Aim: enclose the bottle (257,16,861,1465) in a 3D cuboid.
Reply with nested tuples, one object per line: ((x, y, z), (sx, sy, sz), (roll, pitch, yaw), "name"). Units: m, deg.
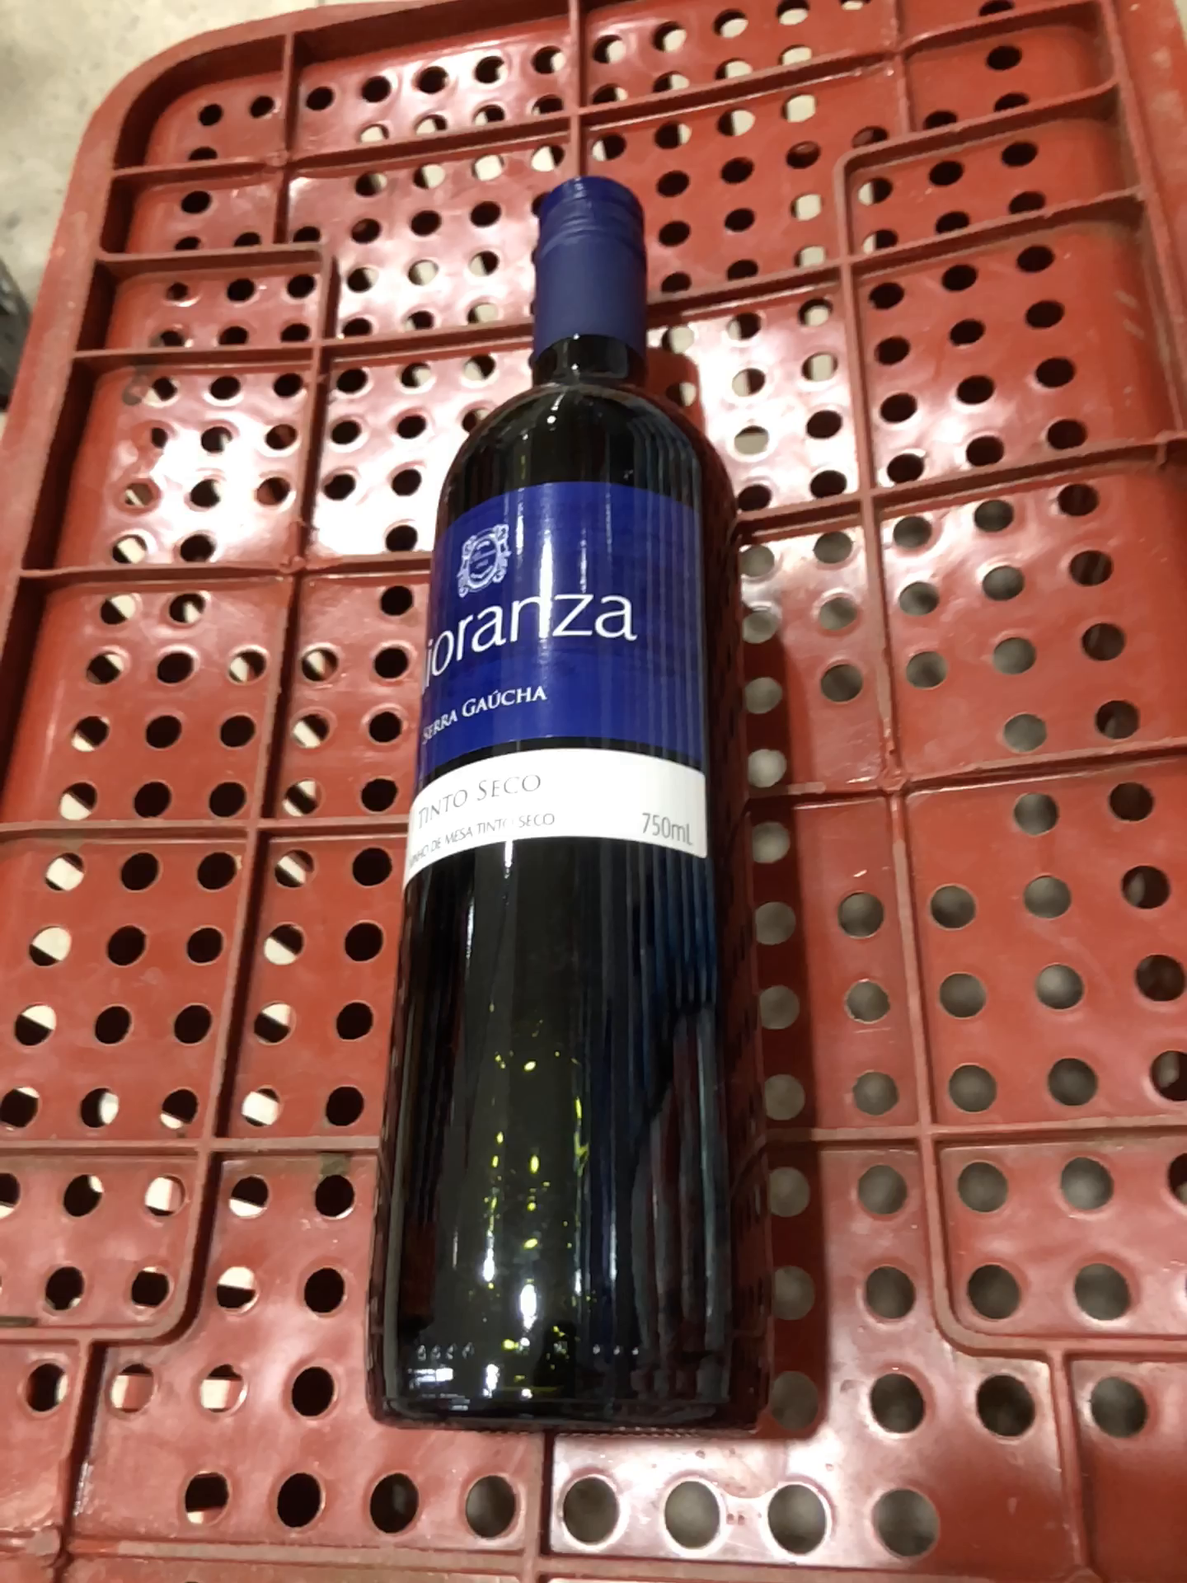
((-0.005, -0.025, 0.285), (0.080, 0.060, 0.301), (-16, 60, 30), "bottle")
